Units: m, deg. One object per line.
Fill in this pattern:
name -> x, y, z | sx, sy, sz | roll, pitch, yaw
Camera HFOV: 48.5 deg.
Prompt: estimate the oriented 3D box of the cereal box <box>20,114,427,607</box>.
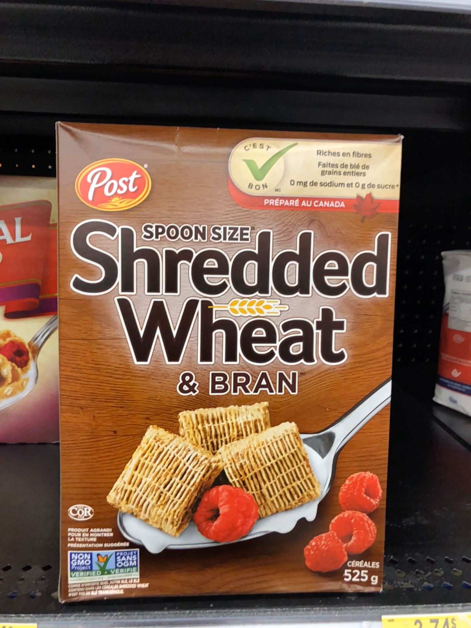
cereal box -> -0.008, 0.028, 0.311 | 0.210, 0.259, 0.060 | 1, 6, -6
